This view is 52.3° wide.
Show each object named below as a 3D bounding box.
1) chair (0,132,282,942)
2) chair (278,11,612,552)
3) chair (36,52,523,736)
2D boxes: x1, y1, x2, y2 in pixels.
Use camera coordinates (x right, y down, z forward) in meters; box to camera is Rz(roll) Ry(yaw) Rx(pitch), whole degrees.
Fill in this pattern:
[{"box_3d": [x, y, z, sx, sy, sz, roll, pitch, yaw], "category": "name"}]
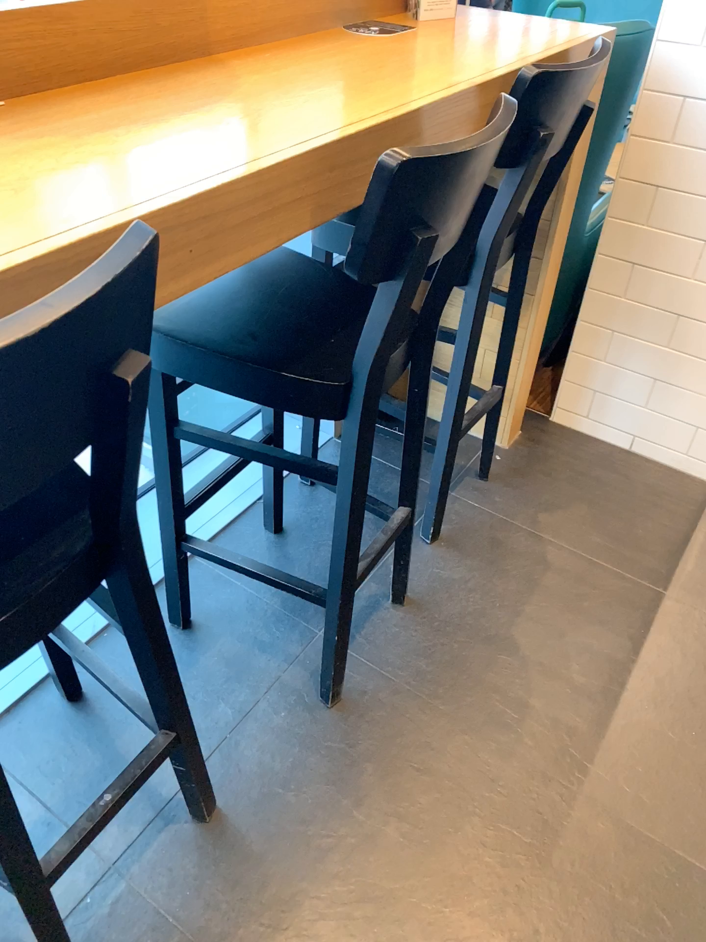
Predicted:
[{"box_3d": [-0.407, 0.197, 0.895, 0.461, 1.001, 0.395, 24, 44, 24], "category": "chair"}, {"box_3d": [0.161, -0.392, 1.606, 0.461, 1.001, 0.426, 22, 43, 23], "category": "chair"}, {"box_3d": [-0.089, -0.099, 1.257, 0.461, 1.001, 0.456, 21, 43, 21], "category": "chair"}]
